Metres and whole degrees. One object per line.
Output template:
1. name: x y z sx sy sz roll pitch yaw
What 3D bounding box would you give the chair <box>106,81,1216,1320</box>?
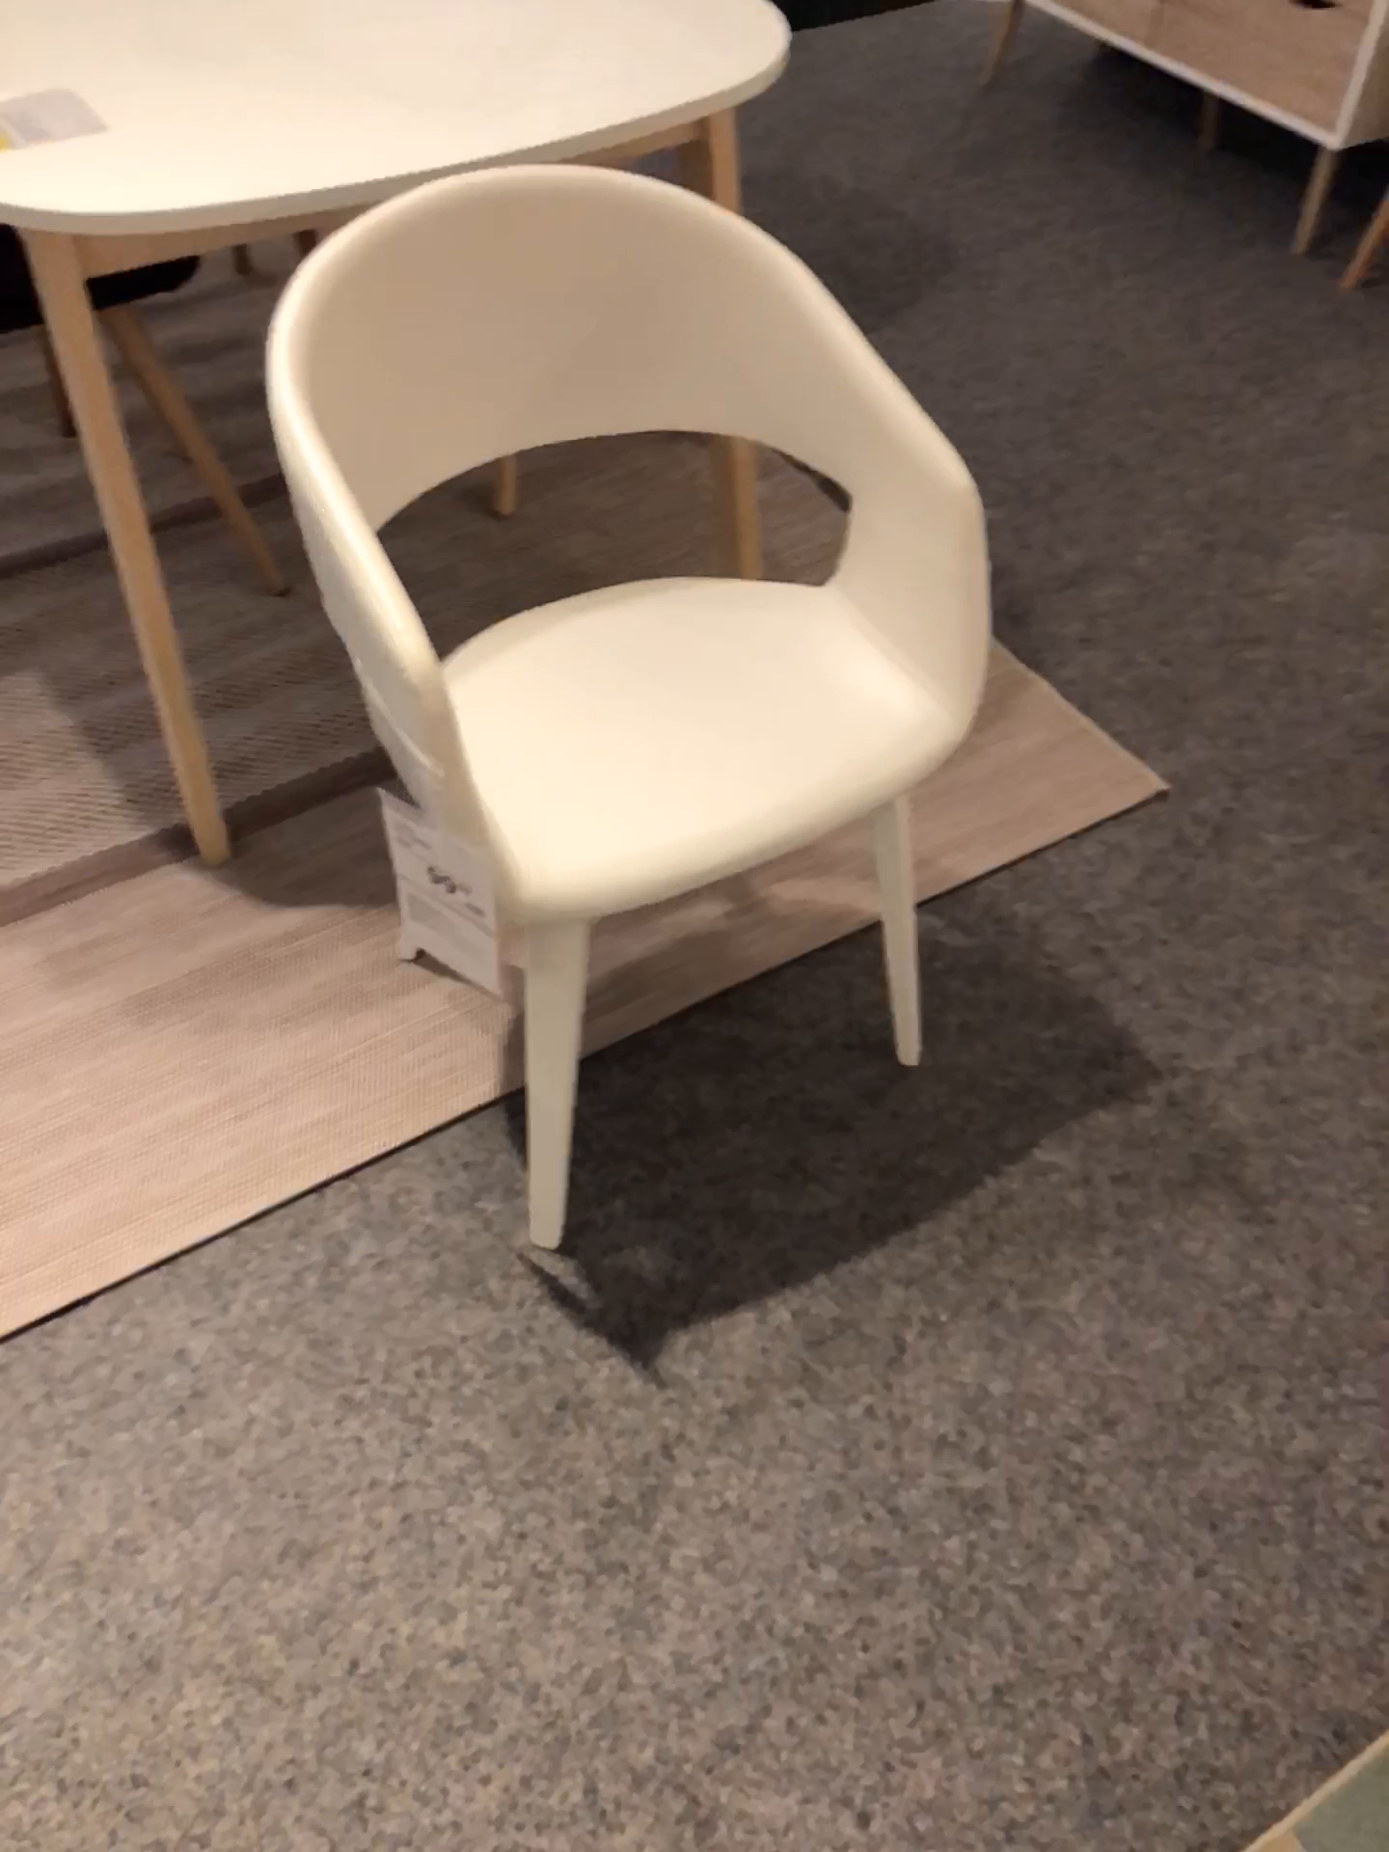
1. chair: -0.053 -0.185 1.323 0.552 0.756 0.561 -24 54 -22
